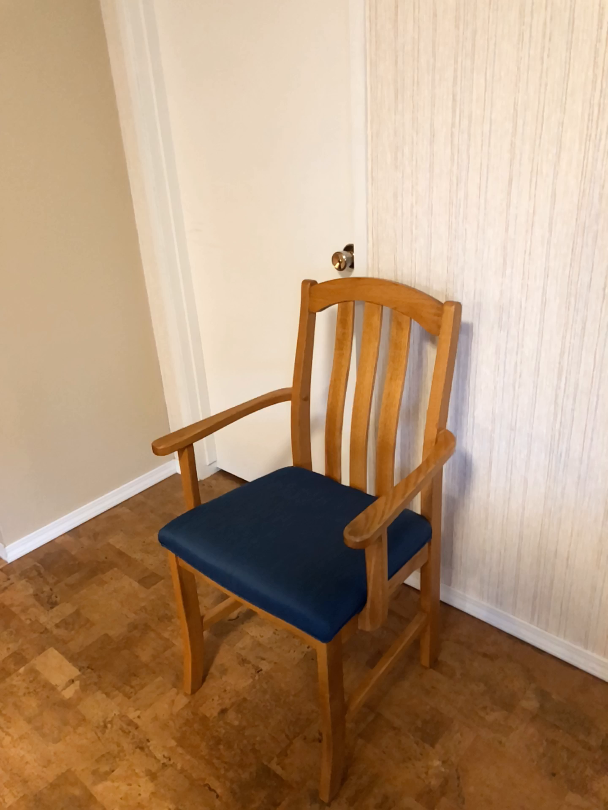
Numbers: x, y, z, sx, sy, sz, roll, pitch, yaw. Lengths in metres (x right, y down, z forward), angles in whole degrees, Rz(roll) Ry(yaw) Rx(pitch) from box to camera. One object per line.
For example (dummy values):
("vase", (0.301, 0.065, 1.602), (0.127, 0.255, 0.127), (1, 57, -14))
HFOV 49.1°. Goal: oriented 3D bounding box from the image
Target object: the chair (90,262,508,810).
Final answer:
("chair", (0.030, 0.243, 1.467), (0.551, 0.937, 0.591), (16, 32, 36))
